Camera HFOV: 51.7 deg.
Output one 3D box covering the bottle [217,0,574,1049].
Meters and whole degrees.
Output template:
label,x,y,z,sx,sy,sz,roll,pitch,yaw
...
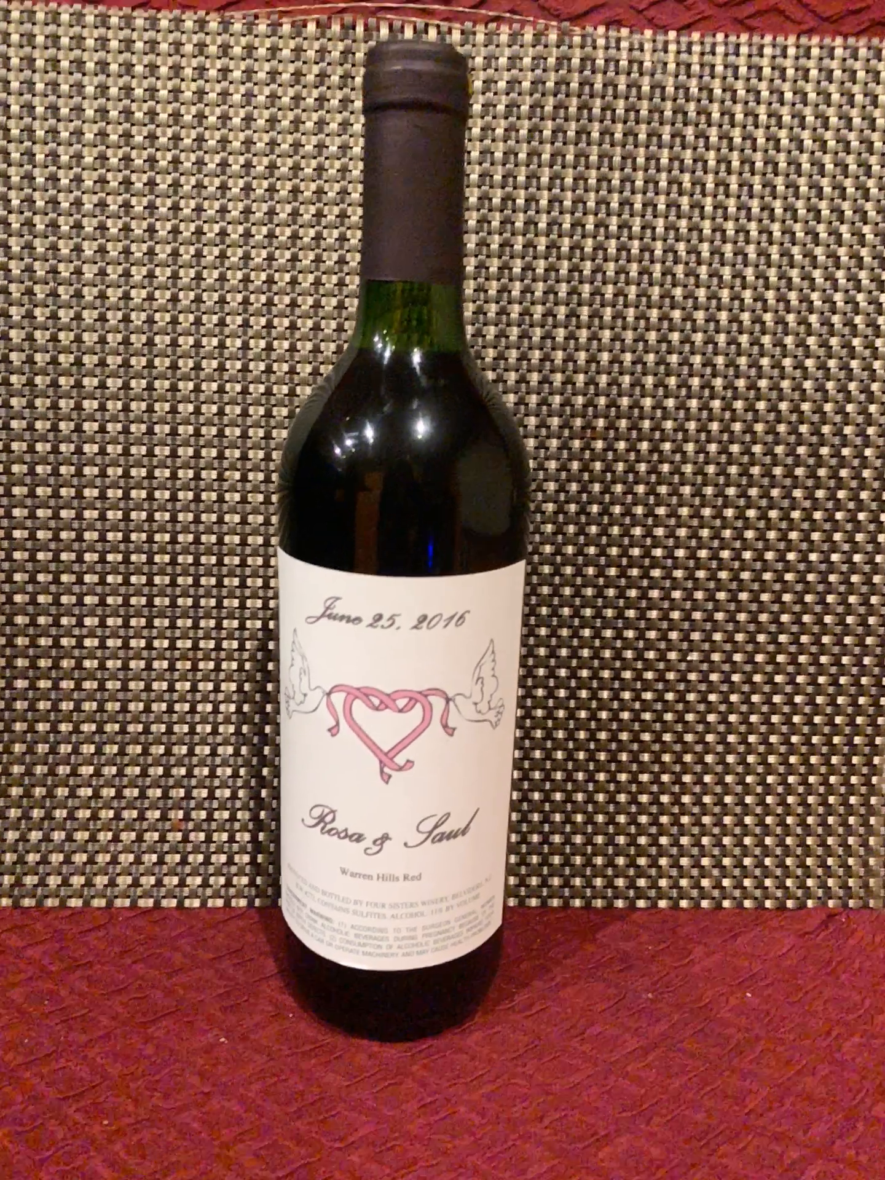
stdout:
label,x,y,z,sx,sy,sz,roll,pitch,yaw
bottle,-0.015,-0.005,0.275,0.080,0.289,0.060,3,17,1
